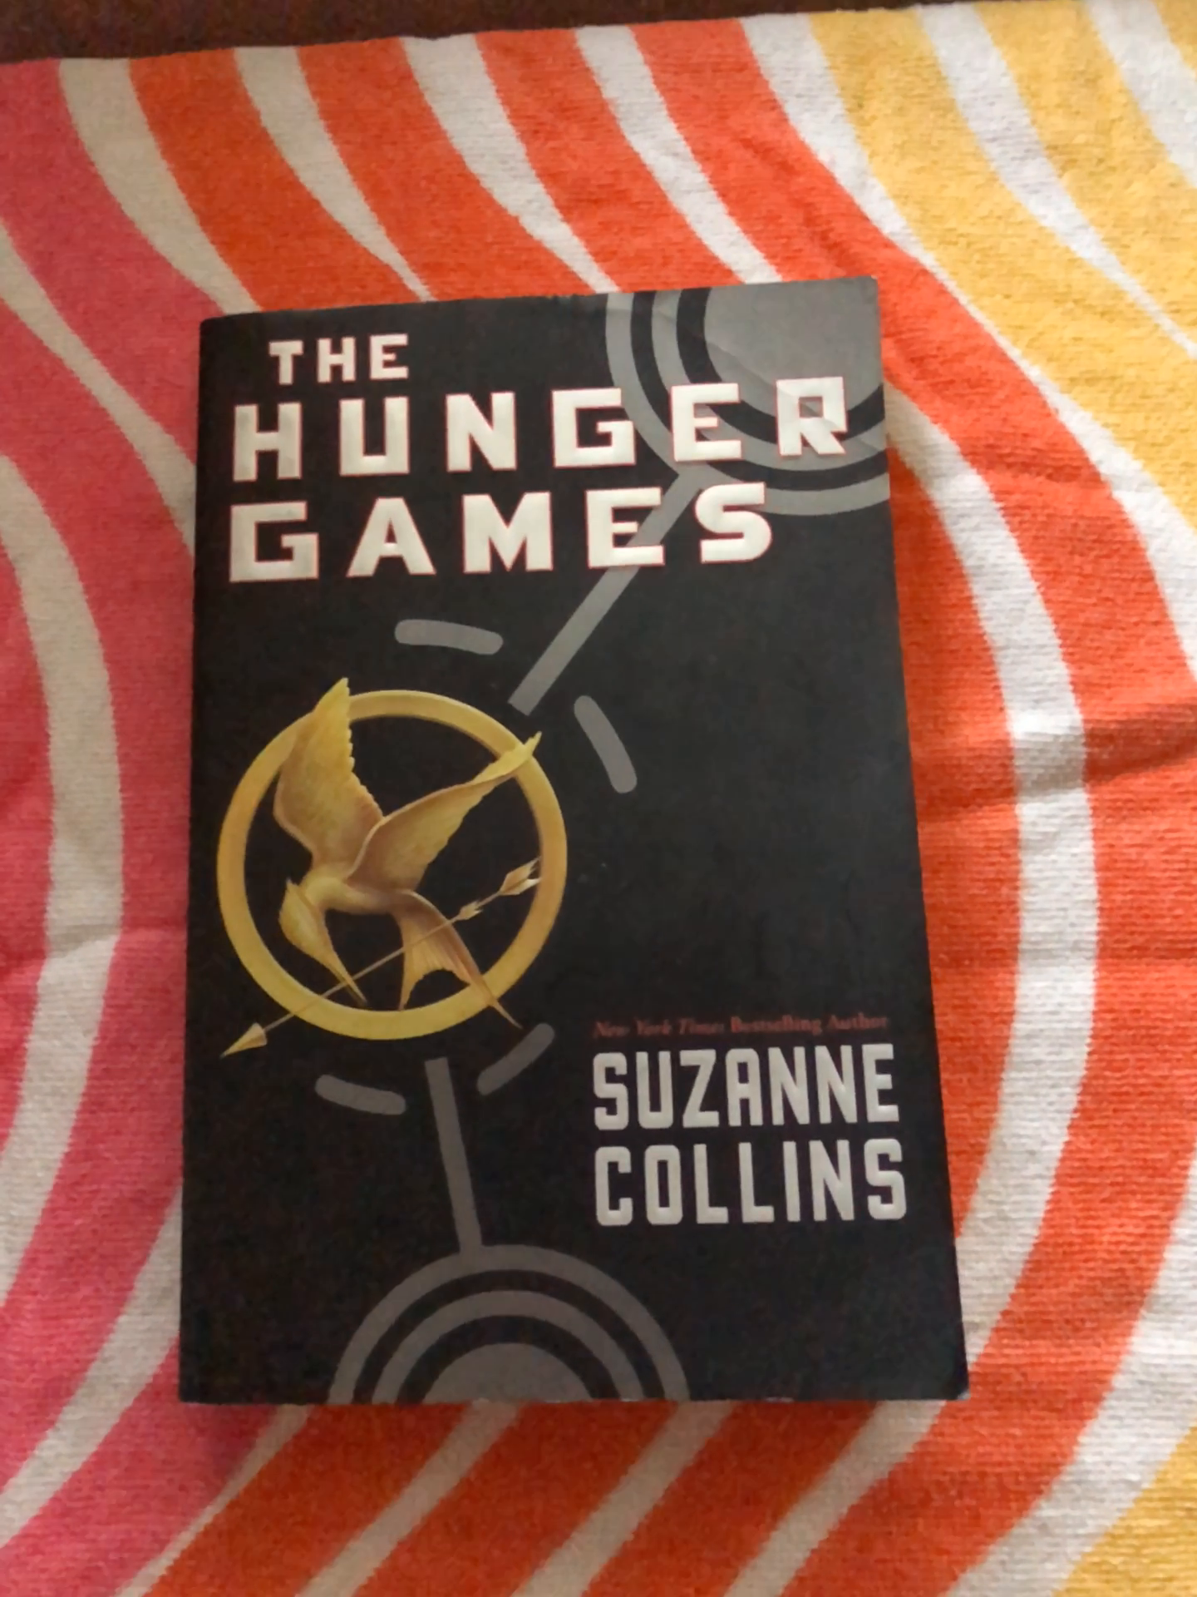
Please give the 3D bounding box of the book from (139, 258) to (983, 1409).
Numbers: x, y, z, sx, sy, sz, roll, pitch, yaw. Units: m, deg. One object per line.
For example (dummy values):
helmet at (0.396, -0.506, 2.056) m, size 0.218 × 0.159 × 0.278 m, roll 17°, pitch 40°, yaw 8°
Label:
book at (-0.009, 0.003, 0.252) m, size 0.138 × 0.037 × 0.200 m, roll -2°, pitch 80°, yaw 3°
